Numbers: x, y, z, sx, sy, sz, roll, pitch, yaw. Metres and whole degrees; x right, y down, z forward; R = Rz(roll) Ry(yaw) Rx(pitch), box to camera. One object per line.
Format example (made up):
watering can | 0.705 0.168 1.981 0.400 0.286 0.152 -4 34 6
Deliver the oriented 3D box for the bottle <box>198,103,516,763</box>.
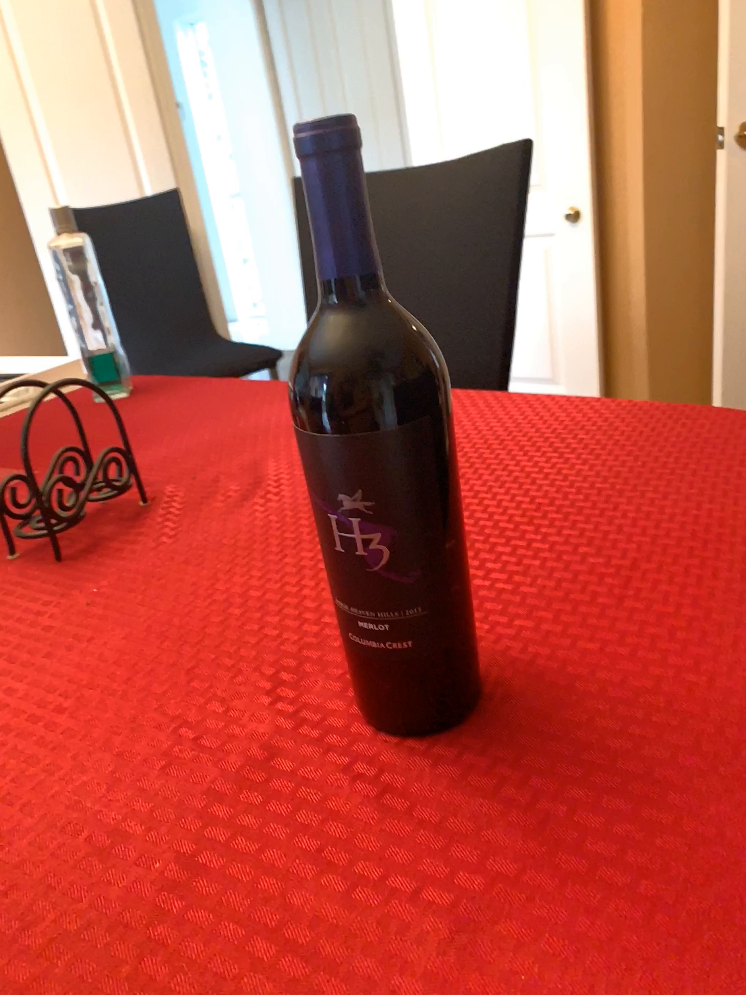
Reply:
bottle | 0.008 -0.020 0.365 0.080 0.289 0.080 -8 23 4
